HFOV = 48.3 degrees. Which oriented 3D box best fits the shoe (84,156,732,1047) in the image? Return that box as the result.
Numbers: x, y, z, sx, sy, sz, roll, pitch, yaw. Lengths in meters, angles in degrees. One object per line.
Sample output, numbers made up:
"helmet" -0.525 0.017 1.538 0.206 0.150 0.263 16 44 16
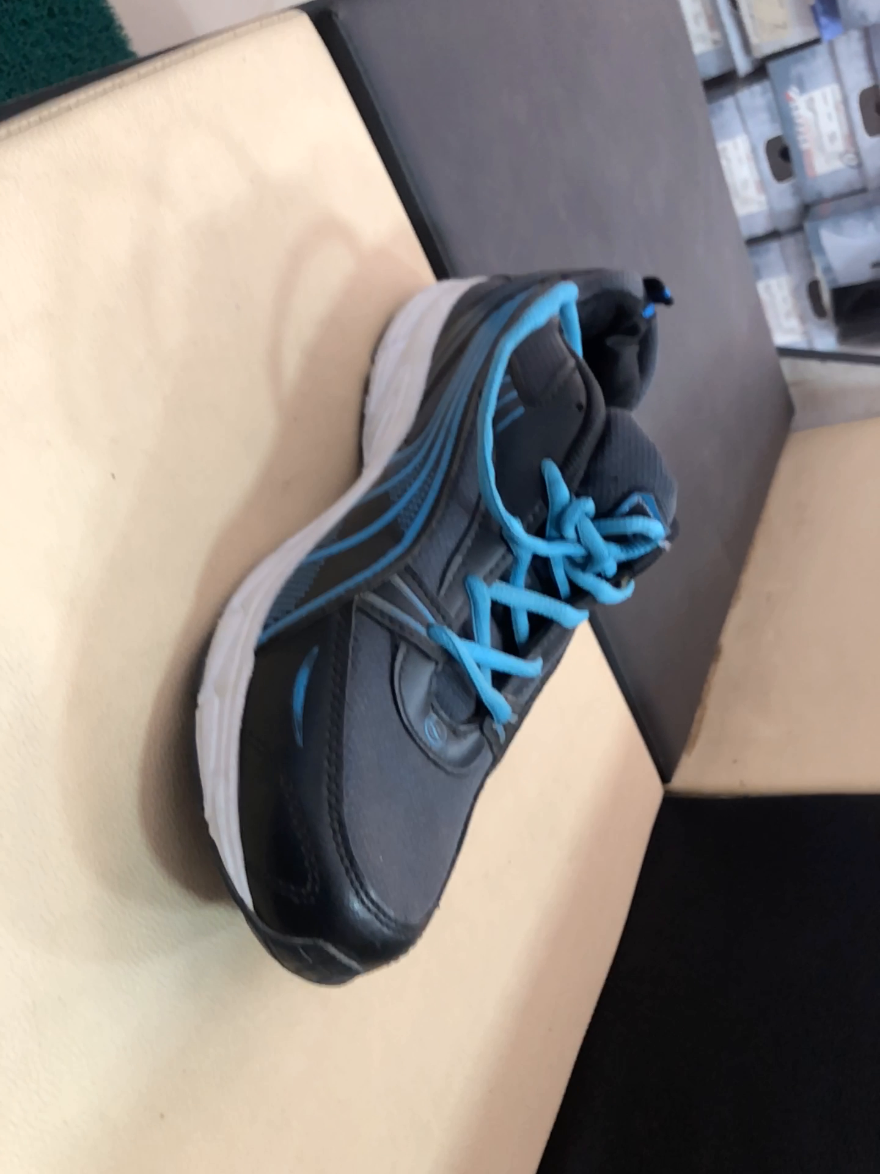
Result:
"shoe" 0.015 -0.011 0.330 0.101 0.099 0.271 51 46 -38
